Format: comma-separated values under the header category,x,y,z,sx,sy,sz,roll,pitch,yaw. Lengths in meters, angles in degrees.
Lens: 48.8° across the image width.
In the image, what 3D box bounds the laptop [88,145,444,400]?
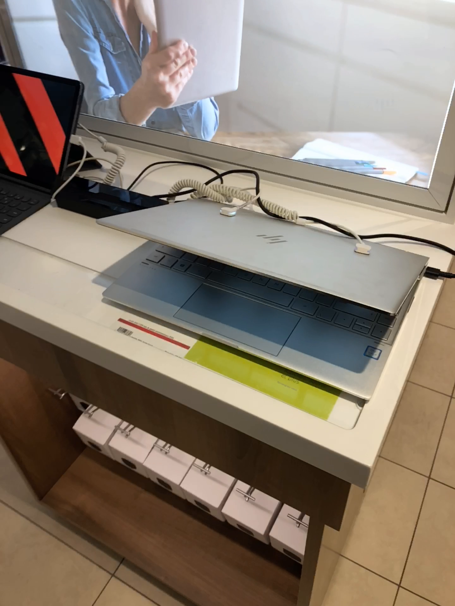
category,x,y,z,sx,sy,sz,roll,pitch,yaw
laptop,0.043,-0.057,0.532,0.298,0.078,0.211,20,48,23
